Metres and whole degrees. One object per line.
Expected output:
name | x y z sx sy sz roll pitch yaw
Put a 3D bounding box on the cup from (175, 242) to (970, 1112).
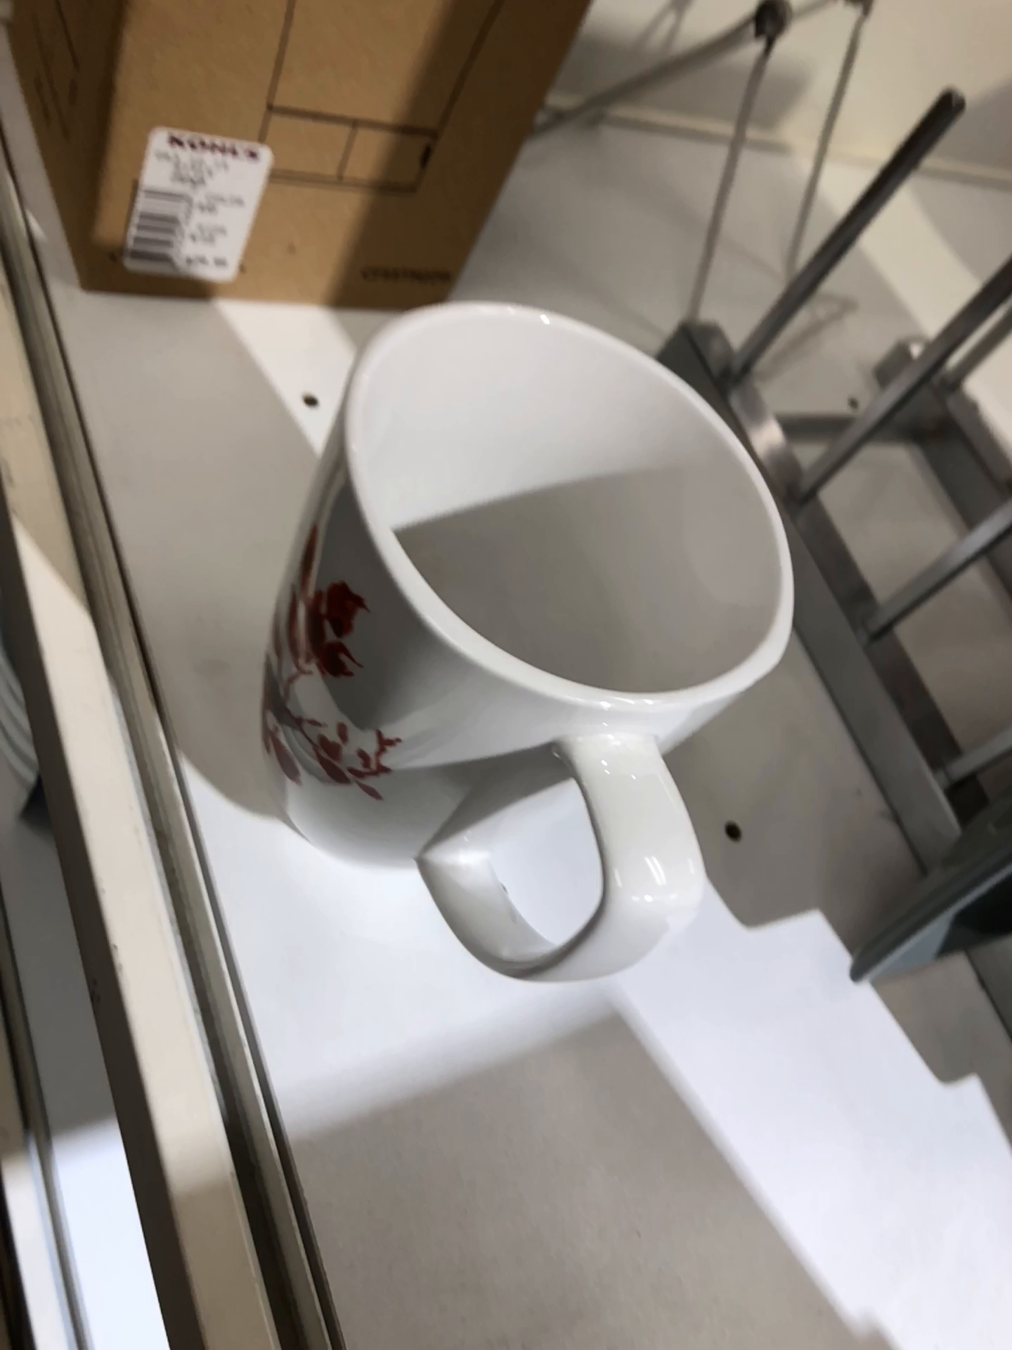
cup | -0.001 0.003 0.221 0.085 0.100 0.119 -5 63 -30
